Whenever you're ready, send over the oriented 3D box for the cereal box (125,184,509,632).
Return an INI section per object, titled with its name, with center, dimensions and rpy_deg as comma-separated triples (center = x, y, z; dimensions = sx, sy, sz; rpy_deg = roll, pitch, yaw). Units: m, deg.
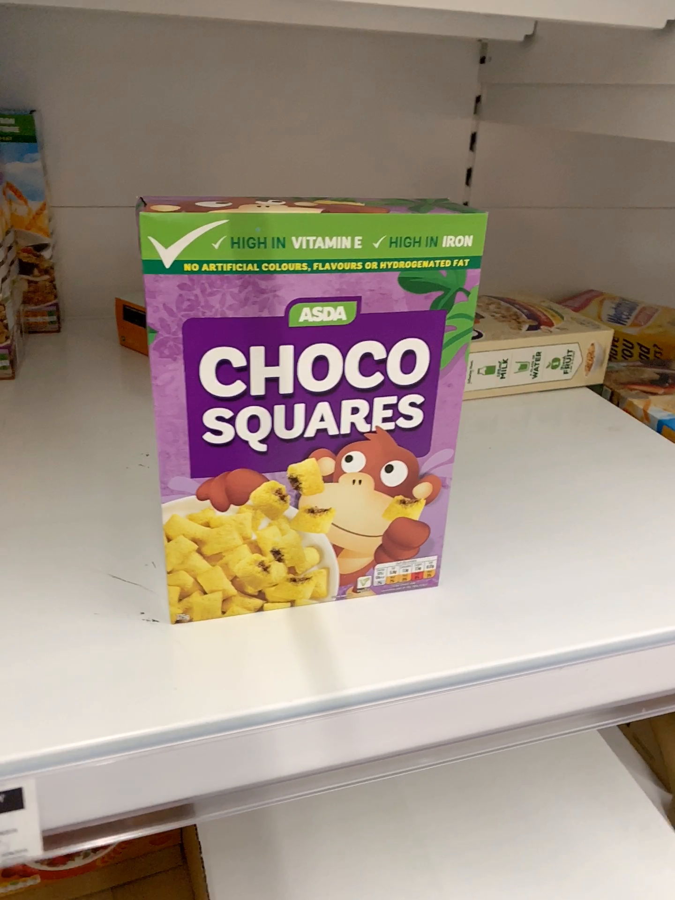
[cereal box]
center = -0.016, -0.022, 0.415
dimensions = 0.190, 0.248, 0.060
rpy_deg = -5, 28, -15
